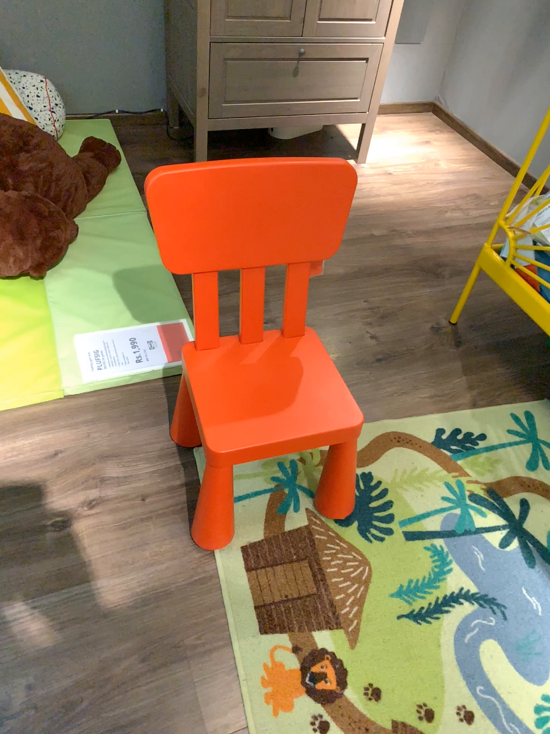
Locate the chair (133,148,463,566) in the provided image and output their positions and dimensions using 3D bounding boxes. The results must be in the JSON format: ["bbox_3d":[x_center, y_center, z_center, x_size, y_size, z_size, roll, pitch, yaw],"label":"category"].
[{"bbox_3d":[-0.027,-0.016,1.061,0.380,0.598,0.462,-8,47,-16],"label":"chair"}]
